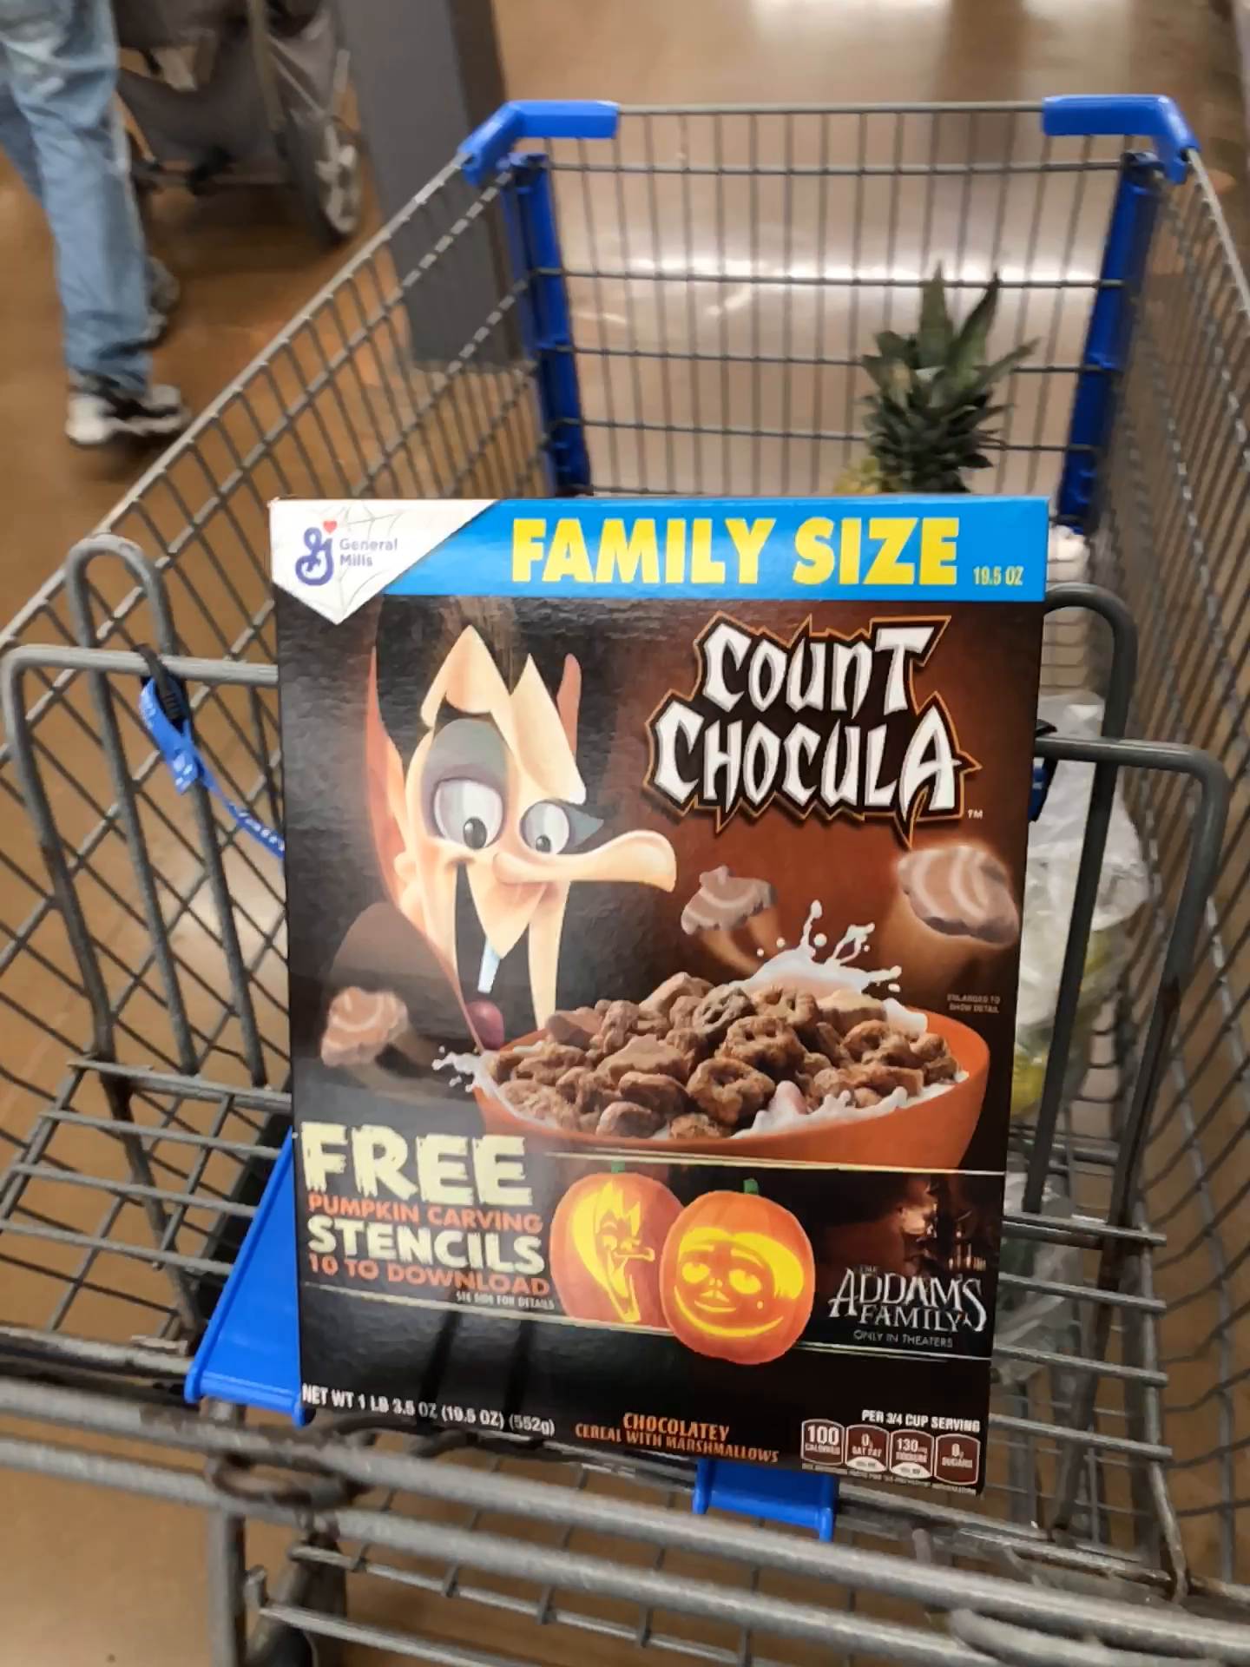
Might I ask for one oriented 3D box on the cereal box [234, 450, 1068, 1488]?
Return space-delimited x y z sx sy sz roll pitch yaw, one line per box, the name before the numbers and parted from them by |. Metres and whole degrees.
cereal box | 0.009 0.042 0.481 0.250 0.330 0.080 2 12 10
